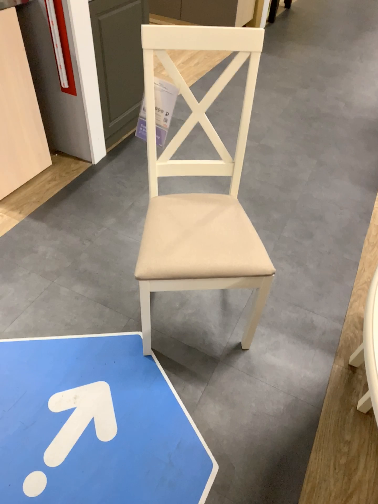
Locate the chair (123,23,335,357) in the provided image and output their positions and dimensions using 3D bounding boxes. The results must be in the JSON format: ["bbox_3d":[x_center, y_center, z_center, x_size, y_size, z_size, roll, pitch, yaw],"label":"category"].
[{"bbox_3d":[0.036,-0.138,1.312,0.435,0.989,0.530,-2,47,-6],"label":"chair"}]
